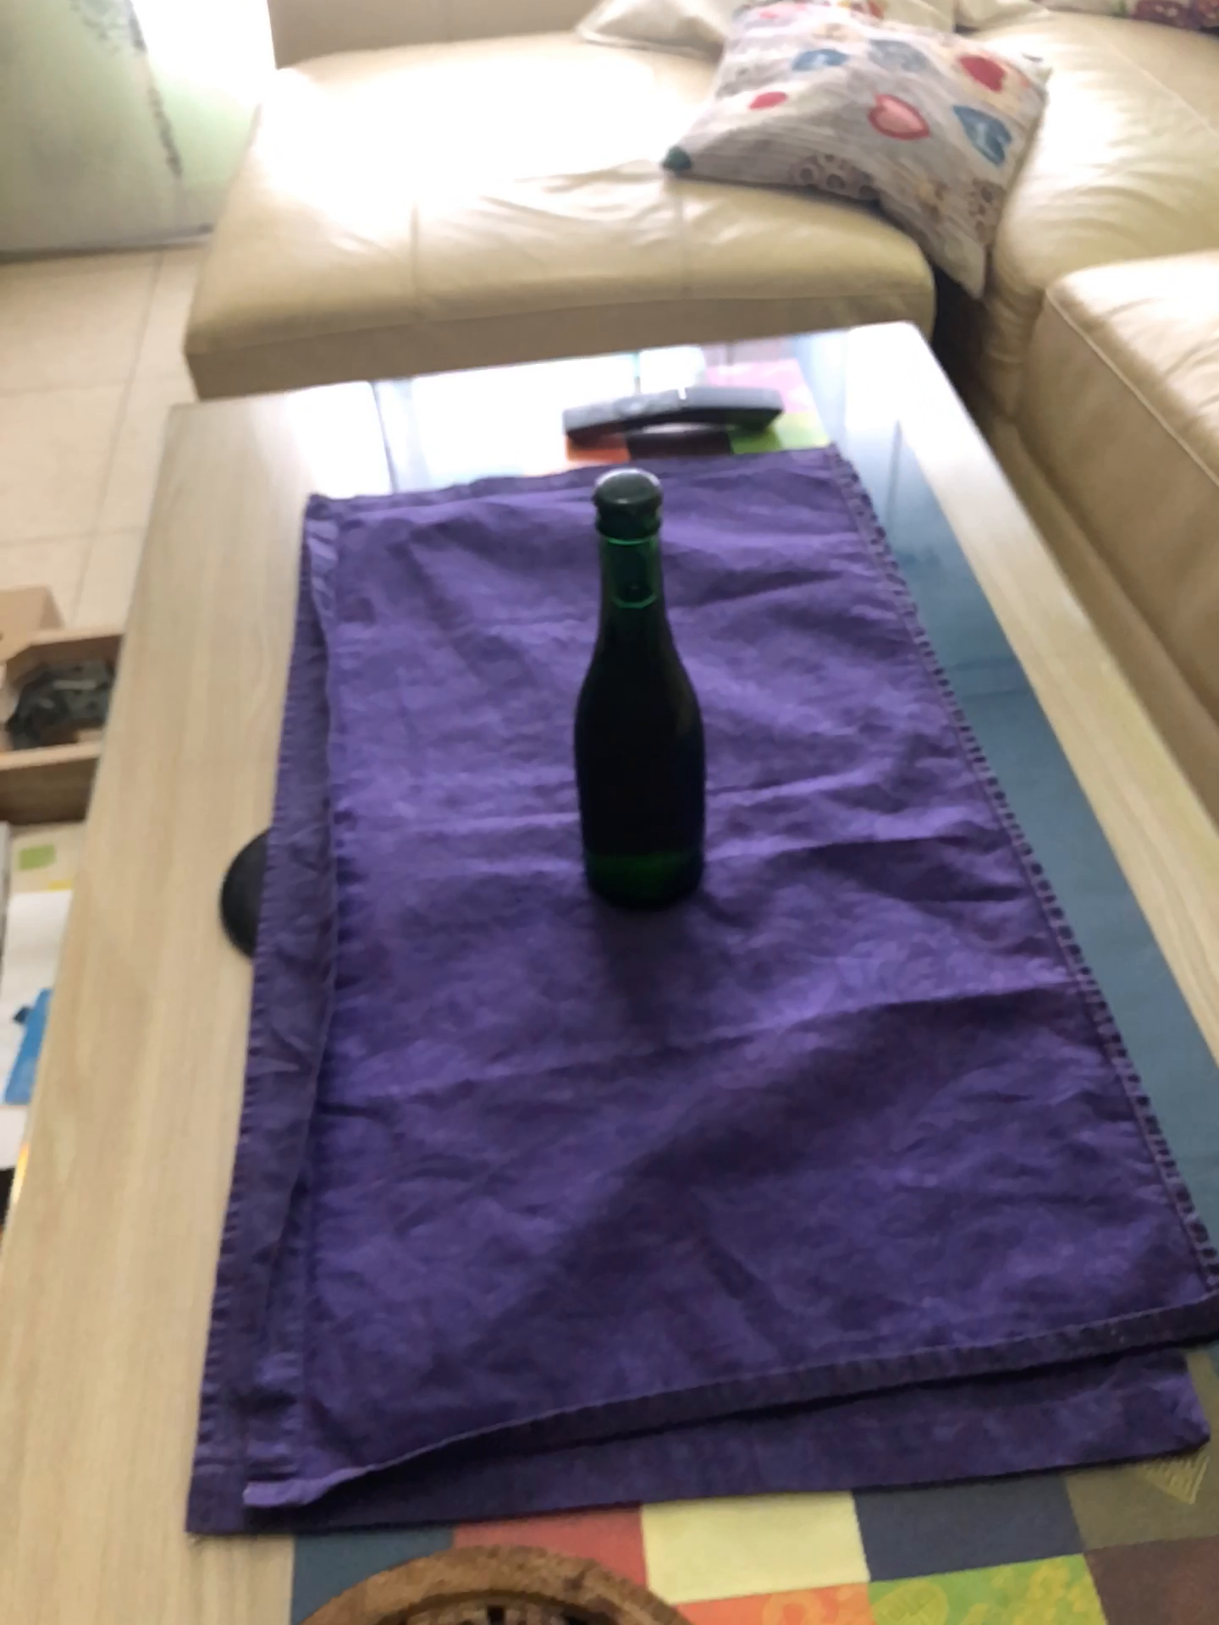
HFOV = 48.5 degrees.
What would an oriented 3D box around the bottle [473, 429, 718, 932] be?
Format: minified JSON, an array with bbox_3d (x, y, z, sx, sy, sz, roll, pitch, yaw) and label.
[{"bbox_3d":[0.001,-0.050,0.599,0.080,0.219,0.070,8,46,11],"label":"bottle"}]
